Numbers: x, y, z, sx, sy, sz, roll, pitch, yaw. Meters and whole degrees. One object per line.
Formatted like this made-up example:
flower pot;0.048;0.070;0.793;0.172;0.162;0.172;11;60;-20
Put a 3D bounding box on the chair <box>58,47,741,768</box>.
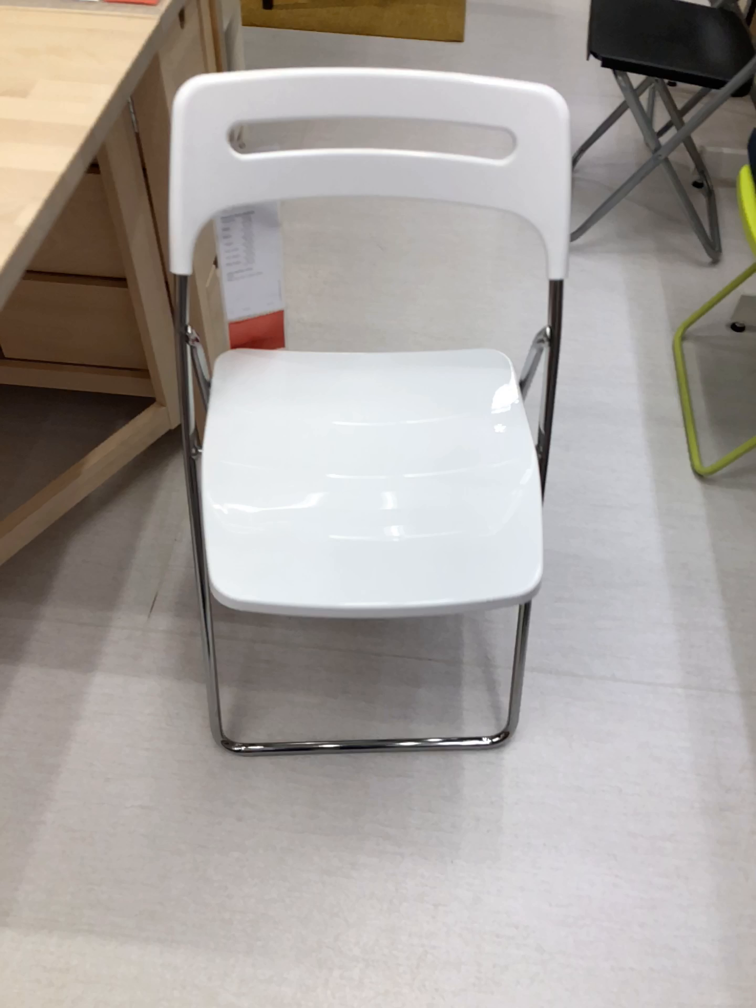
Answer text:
chair;-0.003;-0.048;0.941;0.440;0.716;0.422;0;51;-3
